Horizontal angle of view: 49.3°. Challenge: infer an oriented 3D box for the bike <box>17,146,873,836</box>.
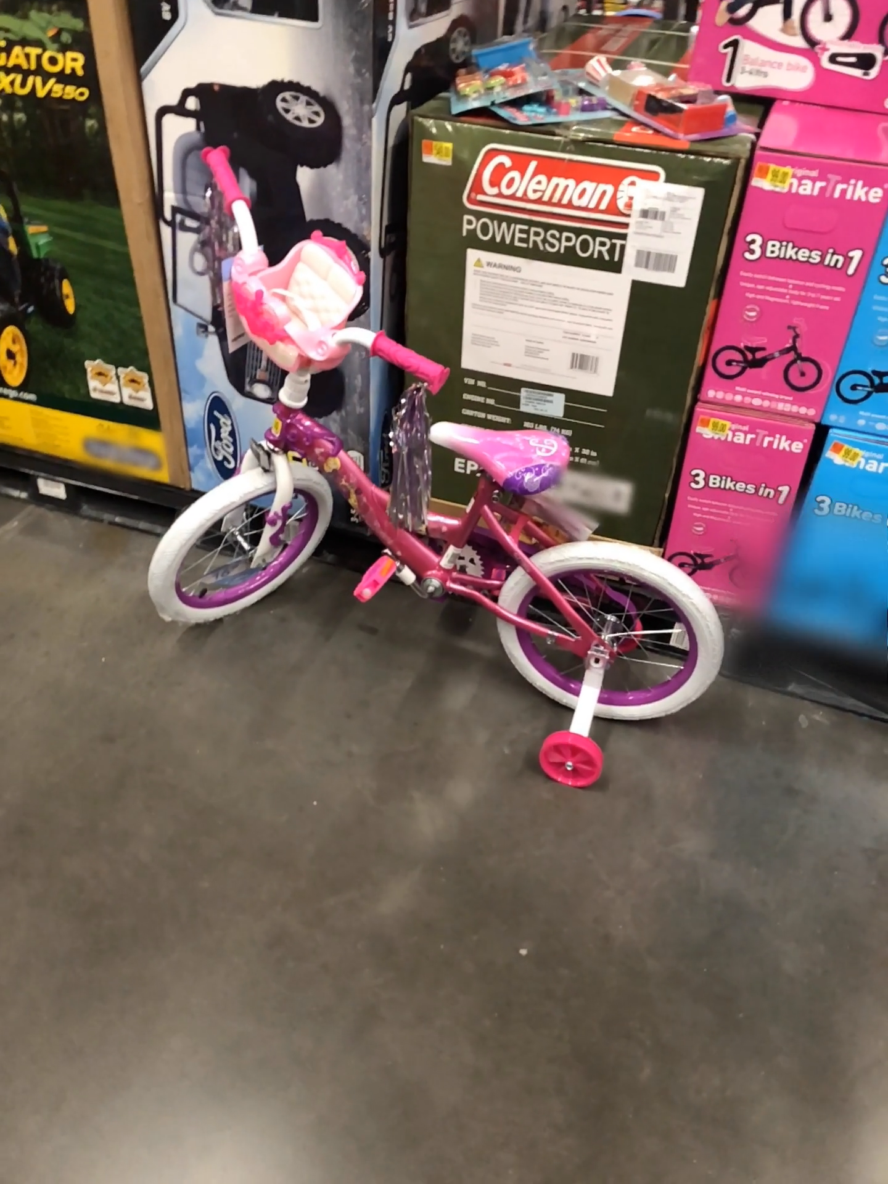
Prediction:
[{"bbox_3d":[-0.008,-0.147,1.509,0.948,0.854,0.479,7,38,5],"label":"bike"}]
